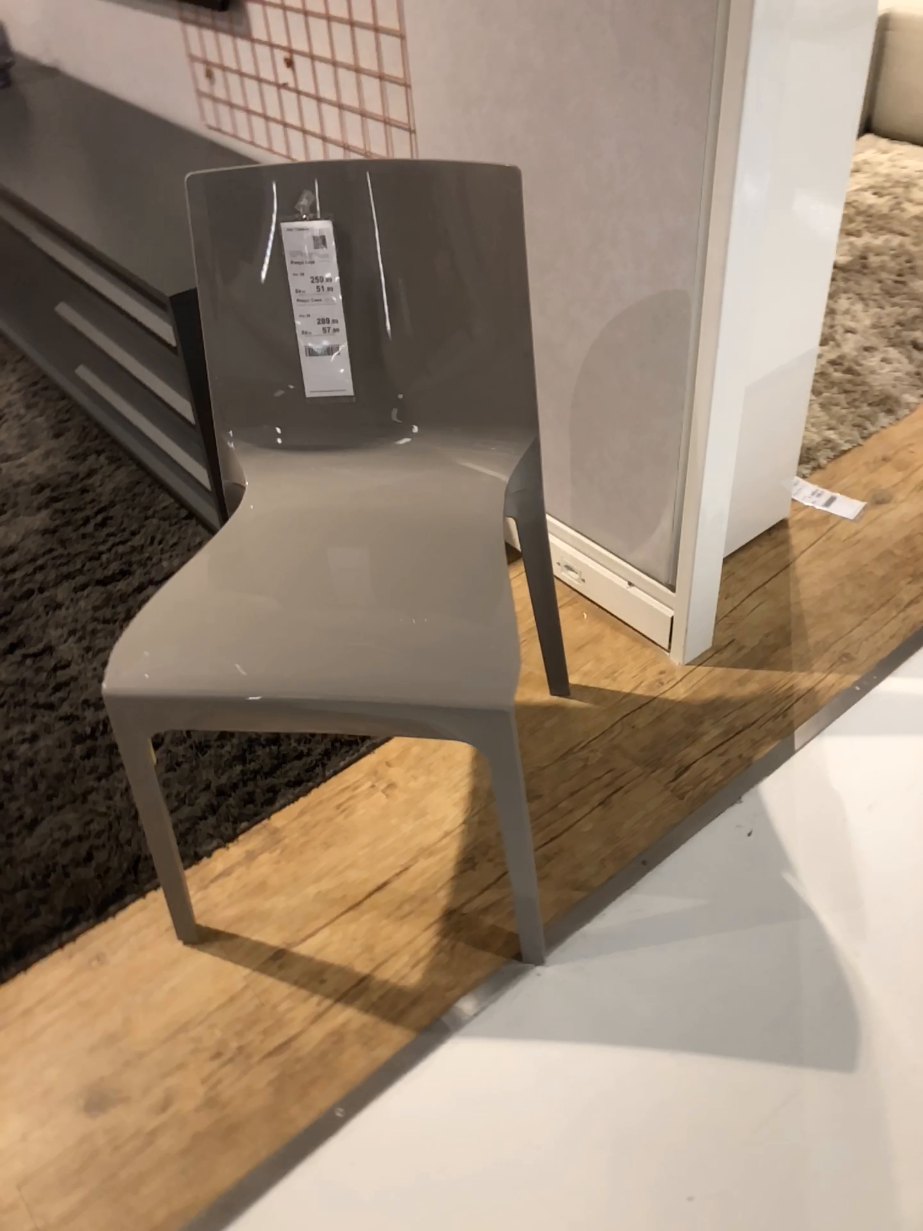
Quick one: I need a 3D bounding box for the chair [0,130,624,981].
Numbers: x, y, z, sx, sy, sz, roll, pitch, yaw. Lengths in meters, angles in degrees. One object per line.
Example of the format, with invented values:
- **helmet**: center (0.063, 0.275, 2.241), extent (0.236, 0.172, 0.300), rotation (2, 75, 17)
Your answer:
- **chair**: center (-0.102, -0.064, 1.168), extent (0.520, 0.754, 0.564), rotation (3, 42, 10)
